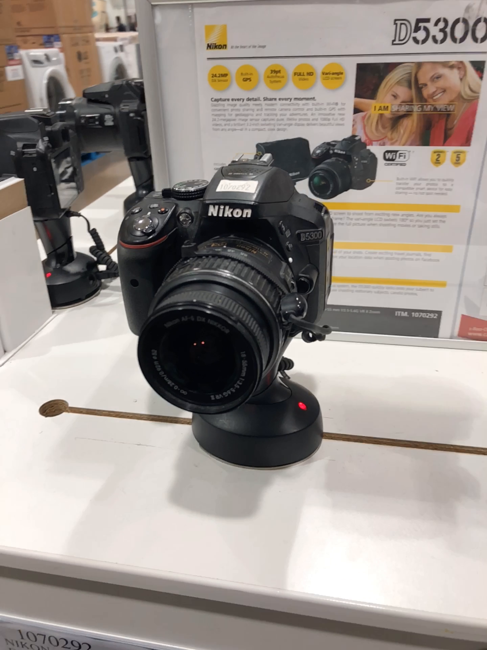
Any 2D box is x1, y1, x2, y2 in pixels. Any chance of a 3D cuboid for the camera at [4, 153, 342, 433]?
[{"bbox_3d":[-0.017,-0.030,0.283,0.130,0.090,0.141,3,29,9],"label":"camera"}]
